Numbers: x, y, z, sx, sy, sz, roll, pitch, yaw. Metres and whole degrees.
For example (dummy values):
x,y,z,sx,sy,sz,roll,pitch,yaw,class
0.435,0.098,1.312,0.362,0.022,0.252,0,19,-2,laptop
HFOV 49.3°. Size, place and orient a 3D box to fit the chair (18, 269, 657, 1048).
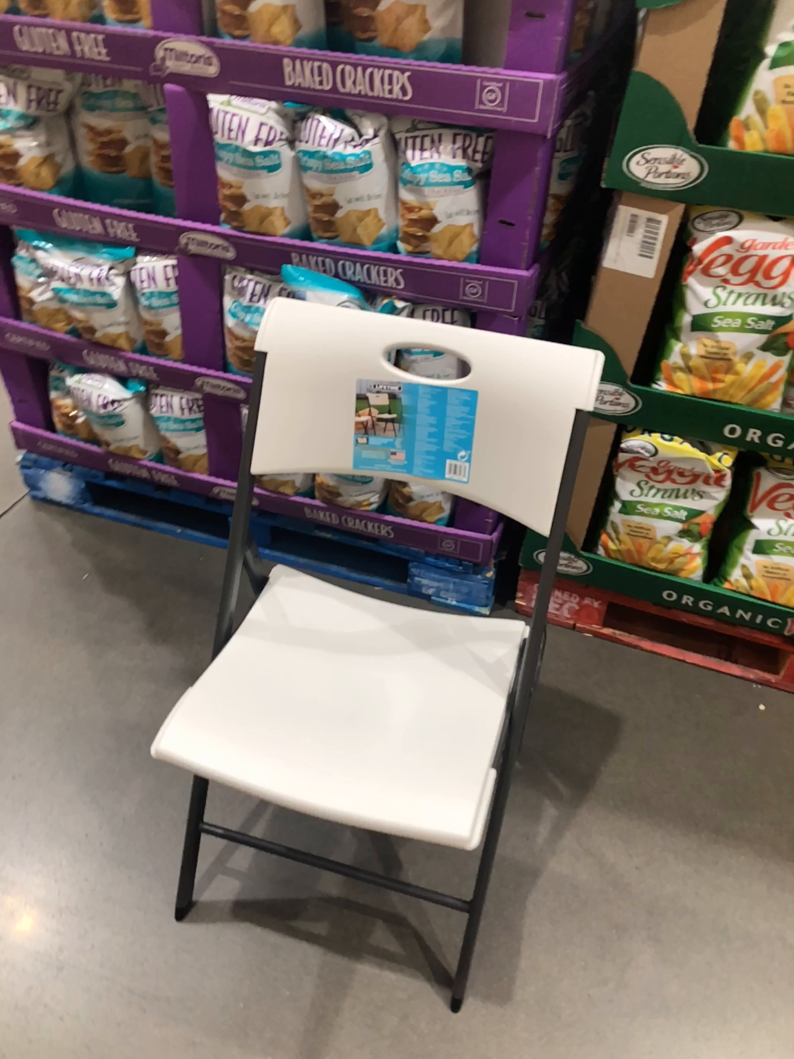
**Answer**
x,y,z,sx,sy,sz,roll,pitch,yaw,class
-0.020,0.165,1.216,0.545,0.790,0.597,13,39,12,chair
